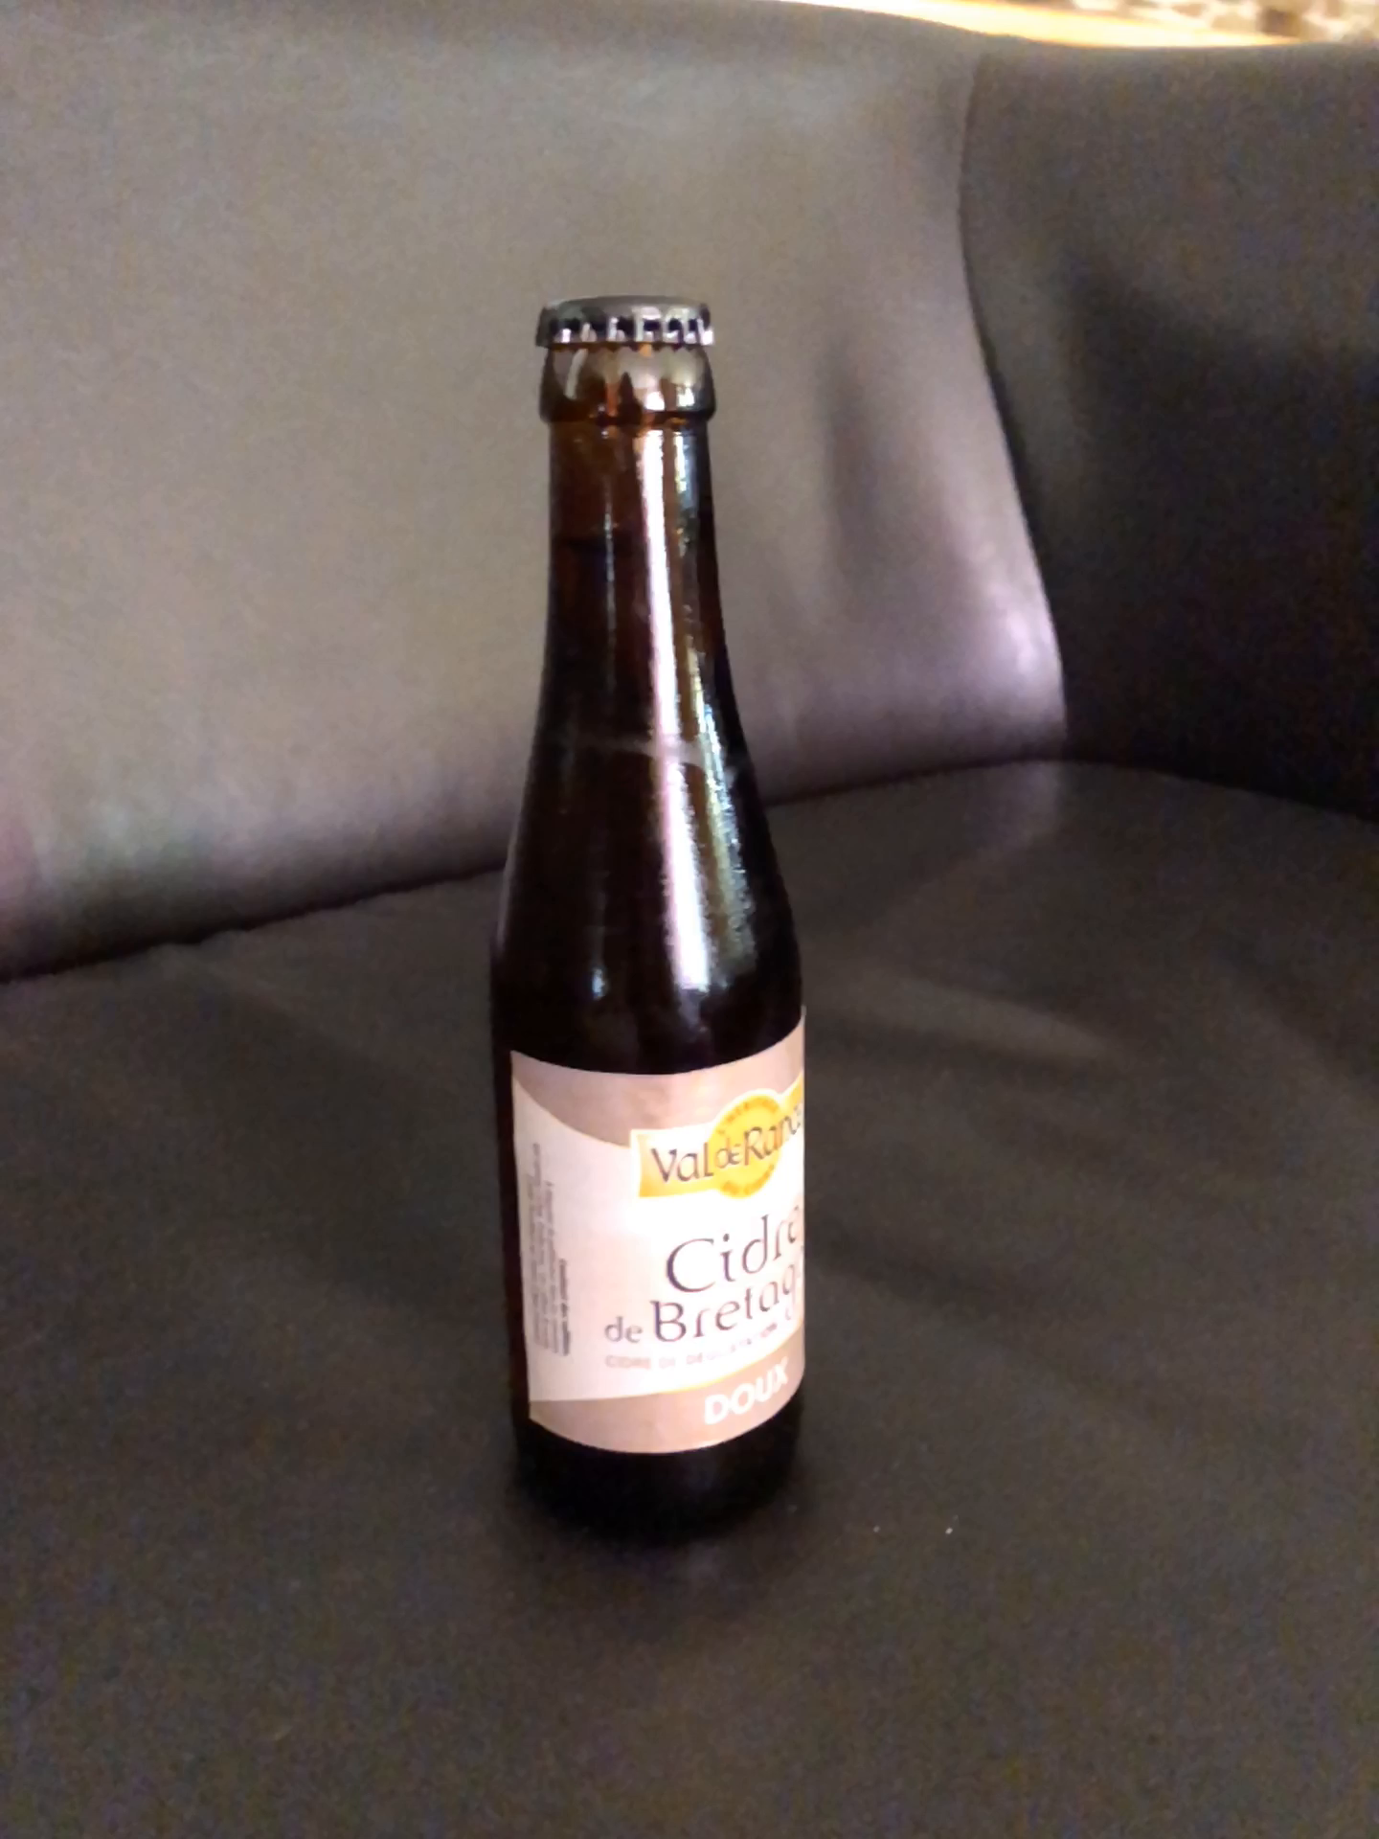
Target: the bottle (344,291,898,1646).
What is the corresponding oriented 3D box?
[{"bbox_3d":[-0.007,0.008,0.260,0.060,0.209,0.060,-2,19,1],"label":"bottle"}]
